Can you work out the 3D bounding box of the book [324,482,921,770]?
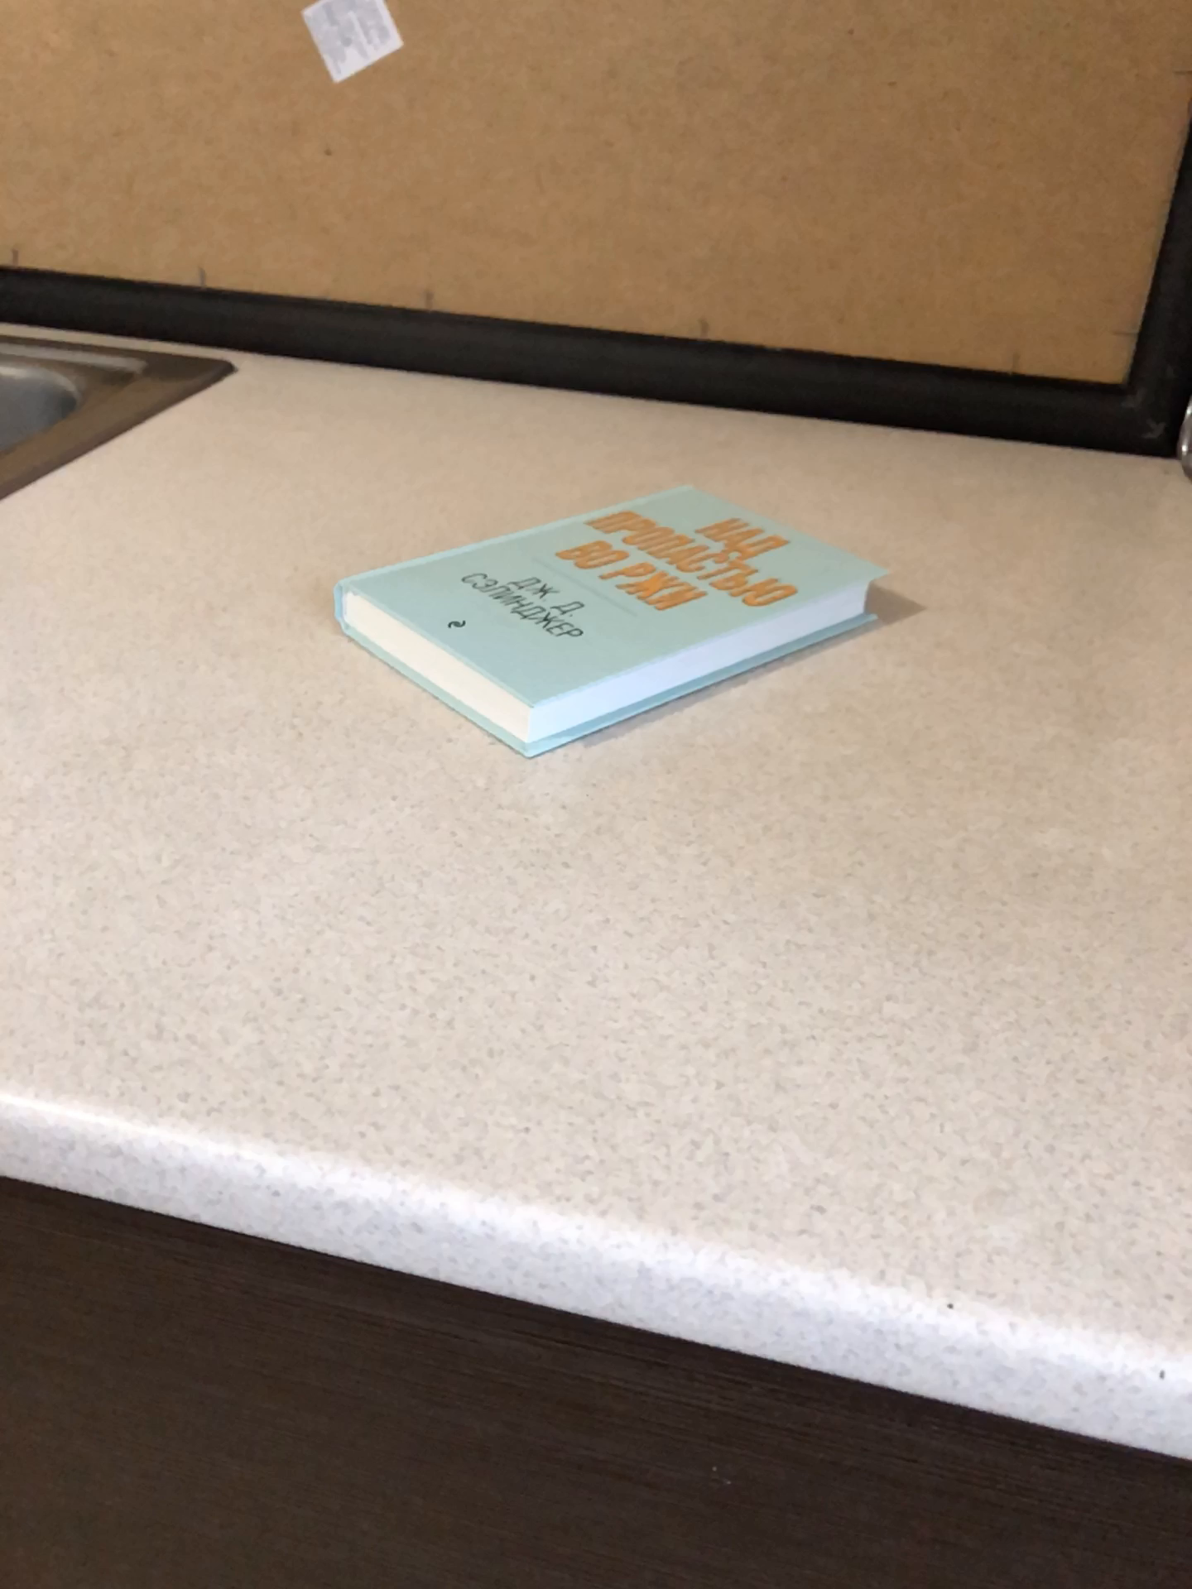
[{"bbox_3d":[0.012,-0.070,0.476,0.181,0.020,0.118,-22,40,-33],"label":"book"}]
